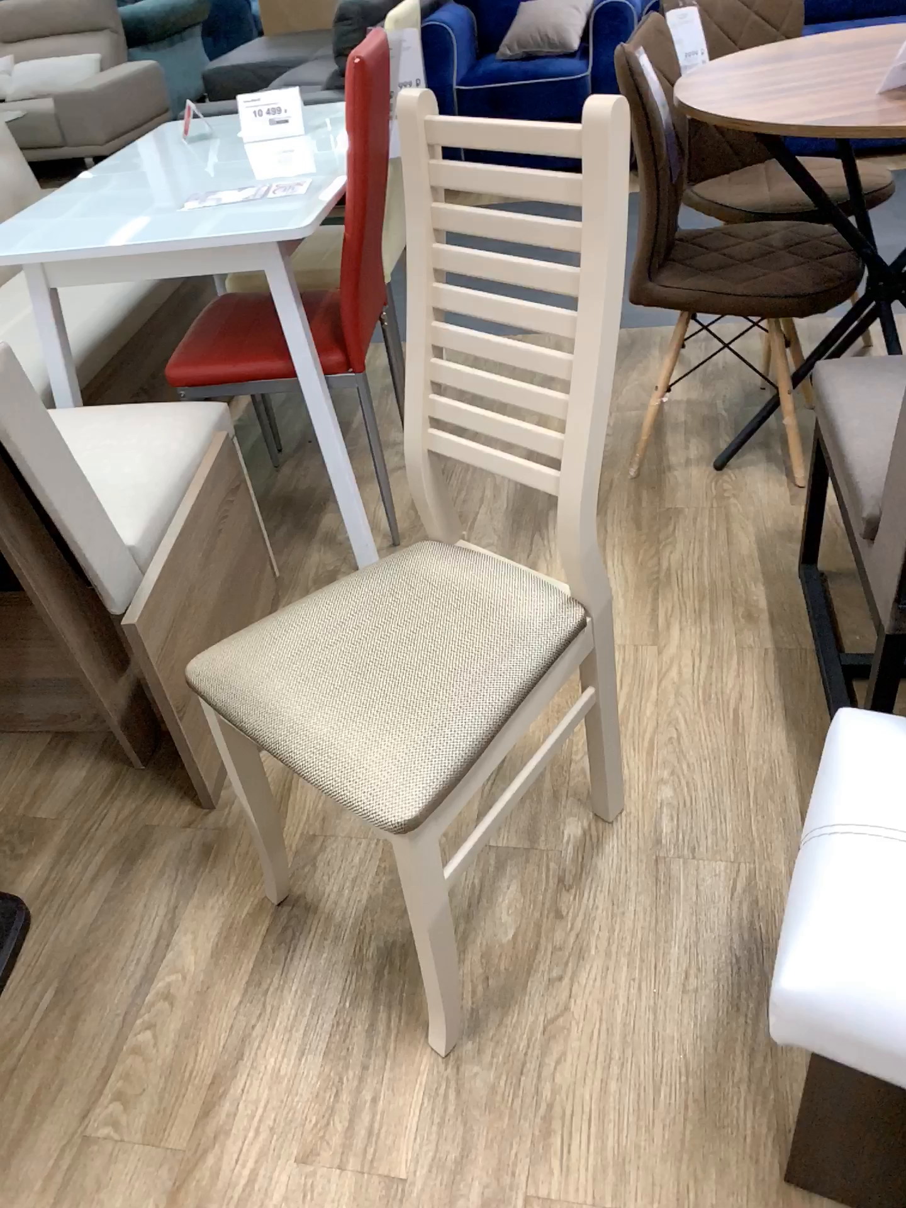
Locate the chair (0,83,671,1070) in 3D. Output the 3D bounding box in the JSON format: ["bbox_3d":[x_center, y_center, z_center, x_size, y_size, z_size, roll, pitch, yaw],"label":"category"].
[{"bbox_3d":[-0.059,-0.005,1.074,0.391,0.969,0.474,26,49,37],"label":"chair"}]
